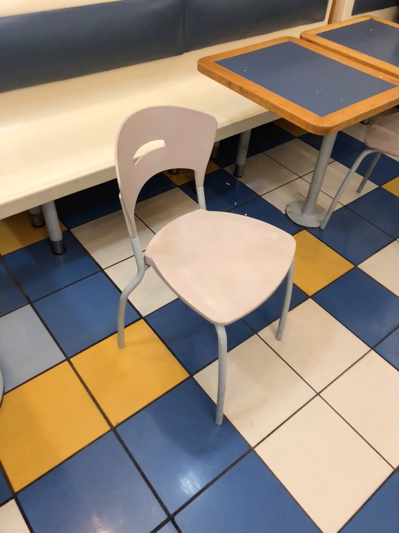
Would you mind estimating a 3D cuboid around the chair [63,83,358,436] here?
[{"bbox_3d":[0.015,-0.002,1.257,0.511,0.774,0.442,29,50,22],"label":"chair"}]
